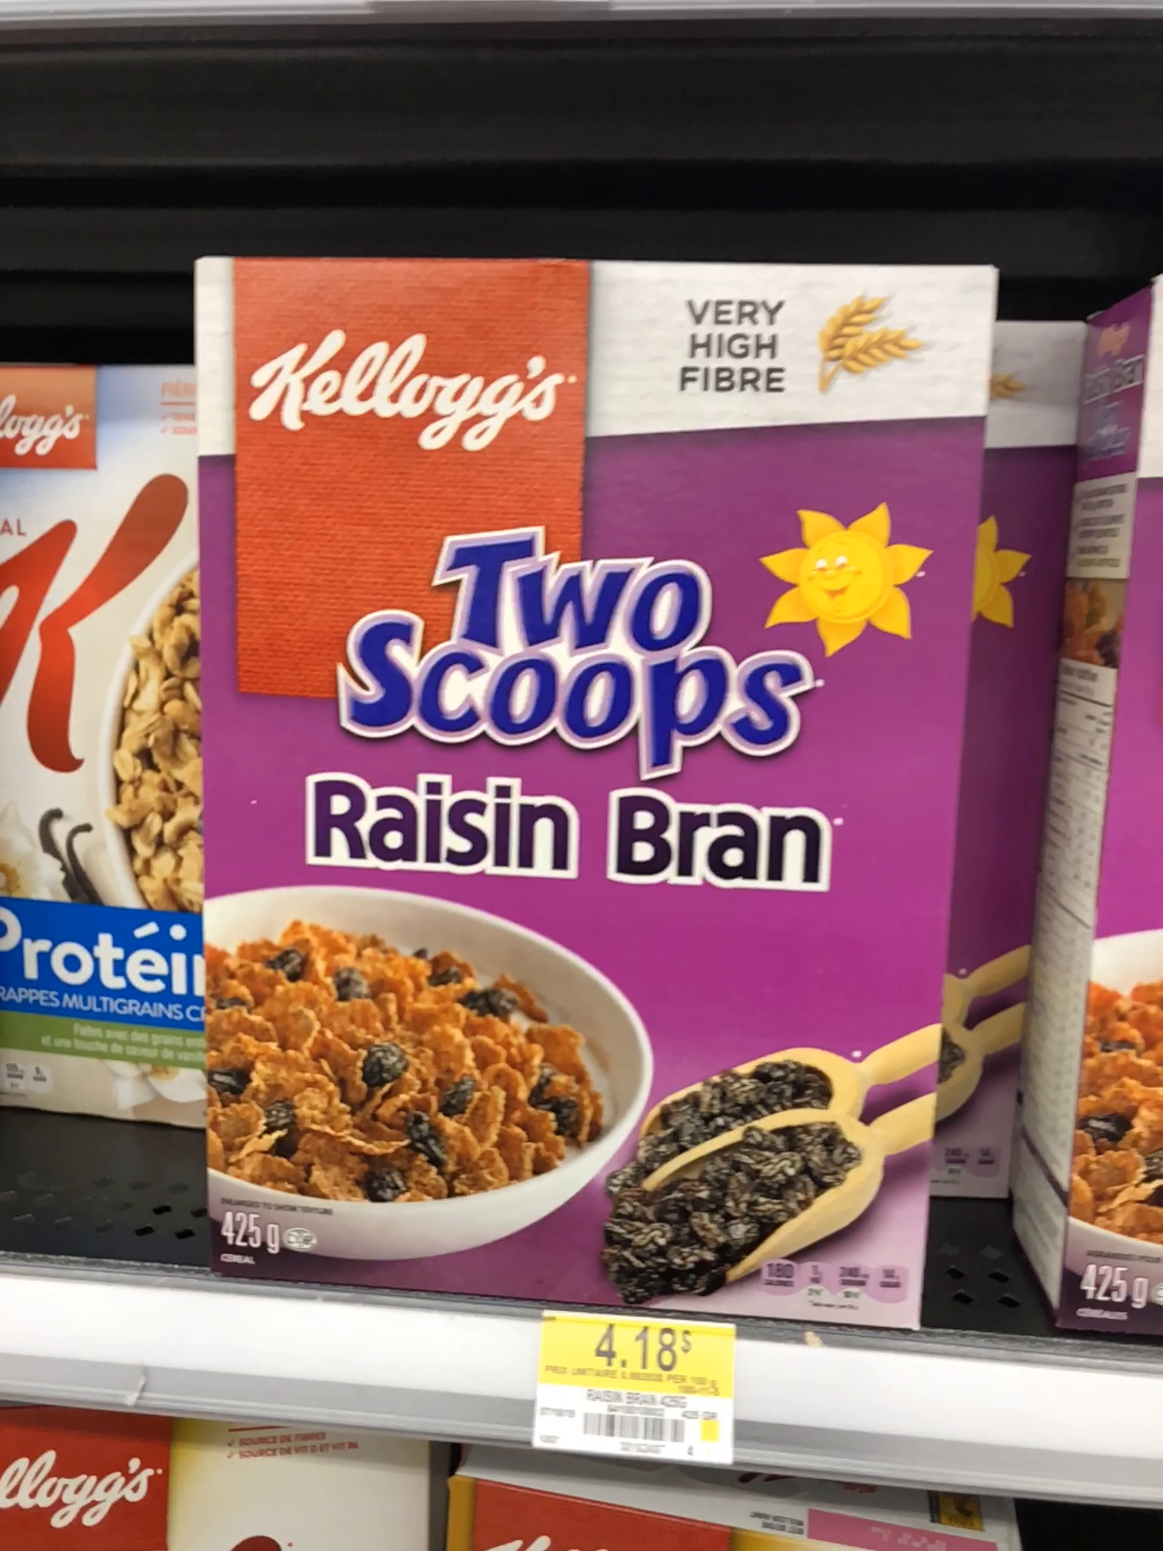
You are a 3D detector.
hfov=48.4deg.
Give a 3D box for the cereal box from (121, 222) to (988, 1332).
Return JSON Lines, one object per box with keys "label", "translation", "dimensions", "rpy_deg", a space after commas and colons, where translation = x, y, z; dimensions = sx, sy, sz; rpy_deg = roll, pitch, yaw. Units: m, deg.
{"label": "cereal box", "translation": [-0.011, 0.002, 0.344], "dimensions": [0.200, 0.269, 0.050], "rpy_deg": [2, 10, 4]}
